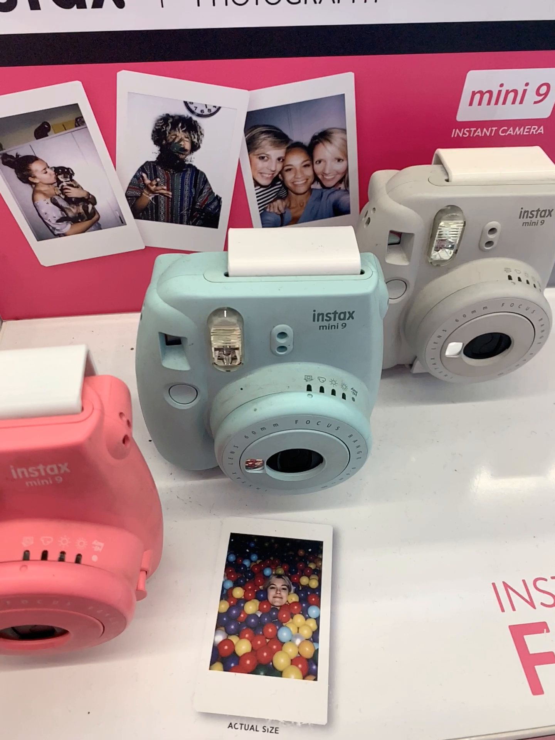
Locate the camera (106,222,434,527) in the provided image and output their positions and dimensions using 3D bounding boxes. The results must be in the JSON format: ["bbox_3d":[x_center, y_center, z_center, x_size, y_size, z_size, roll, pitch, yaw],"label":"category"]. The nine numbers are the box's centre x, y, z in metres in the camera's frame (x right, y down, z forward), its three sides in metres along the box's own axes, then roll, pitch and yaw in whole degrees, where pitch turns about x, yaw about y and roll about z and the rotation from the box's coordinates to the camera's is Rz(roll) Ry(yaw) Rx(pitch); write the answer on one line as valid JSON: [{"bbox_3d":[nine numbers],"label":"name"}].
[{"bbox_3d":[-0.004,0.008,0.264,0.110,0.129,0.071,-1,48,-2],"label":"camera"}]
